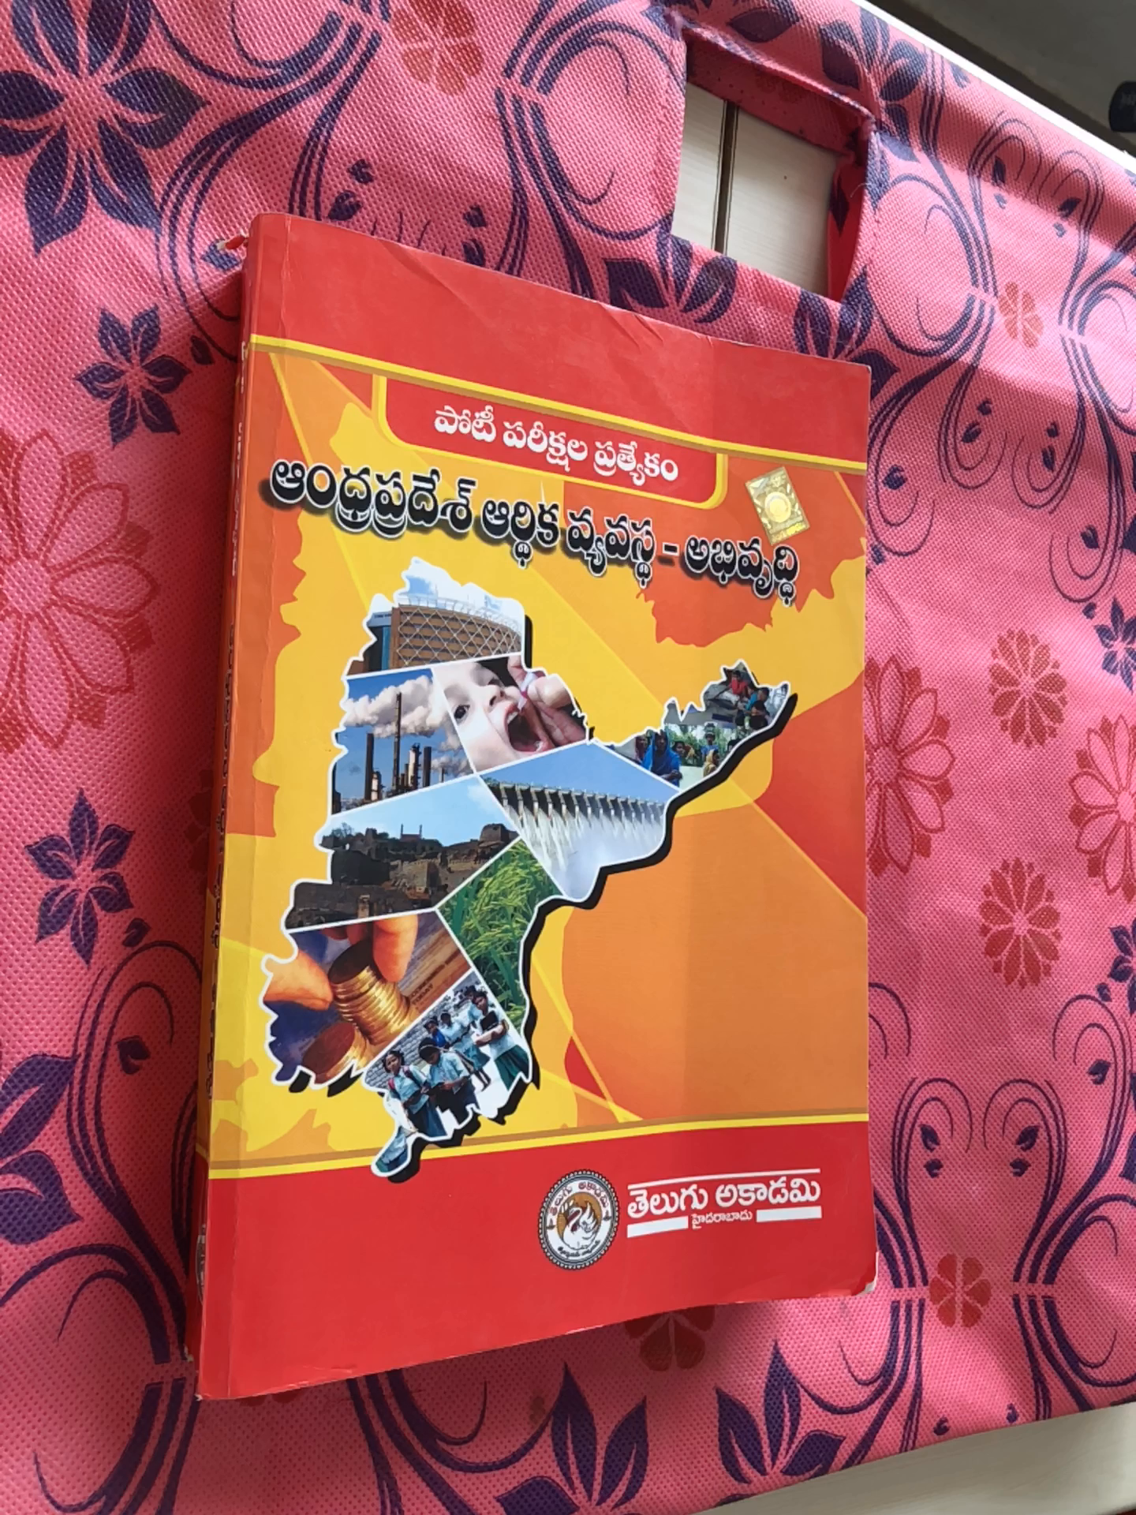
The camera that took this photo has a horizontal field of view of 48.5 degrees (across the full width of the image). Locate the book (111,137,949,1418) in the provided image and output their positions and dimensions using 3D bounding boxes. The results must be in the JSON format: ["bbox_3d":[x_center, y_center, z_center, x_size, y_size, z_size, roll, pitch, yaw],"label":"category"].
[{"bbox_3d":[0.001,0.009,0.331,0.201,0.060,0.260,5,86,-30],"label":"book"}]
